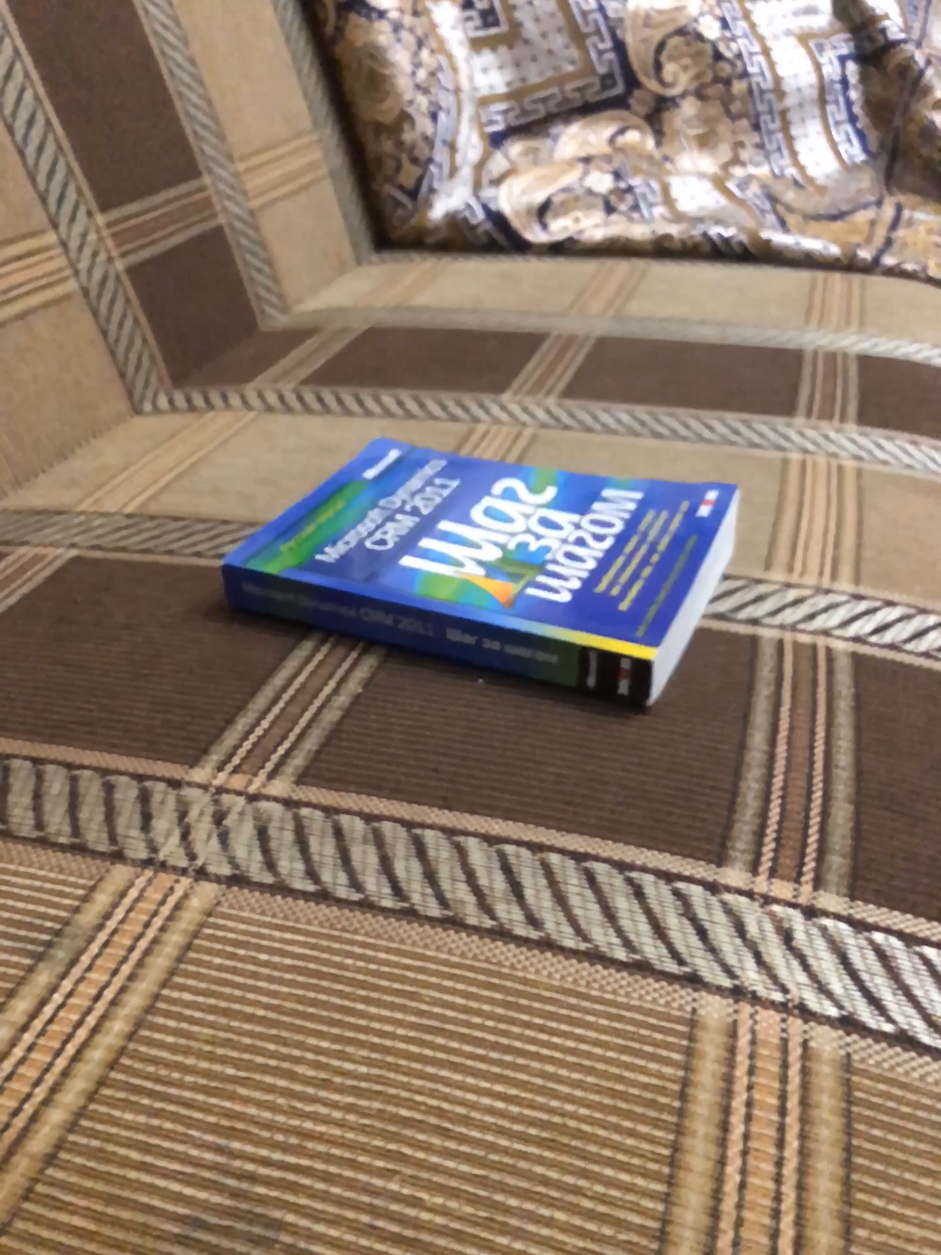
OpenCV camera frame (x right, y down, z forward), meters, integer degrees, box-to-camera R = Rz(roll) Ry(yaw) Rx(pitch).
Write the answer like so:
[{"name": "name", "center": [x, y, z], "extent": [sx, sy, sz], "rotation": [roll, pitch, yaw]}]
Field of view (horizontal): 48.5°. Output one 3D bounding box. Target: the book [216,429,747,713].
[{"name": "book", "center": [0.011, -0.038, 0.486], "extent": [0.200, 0.030, 0.151], "rotation": [12, 35, 20]}]
